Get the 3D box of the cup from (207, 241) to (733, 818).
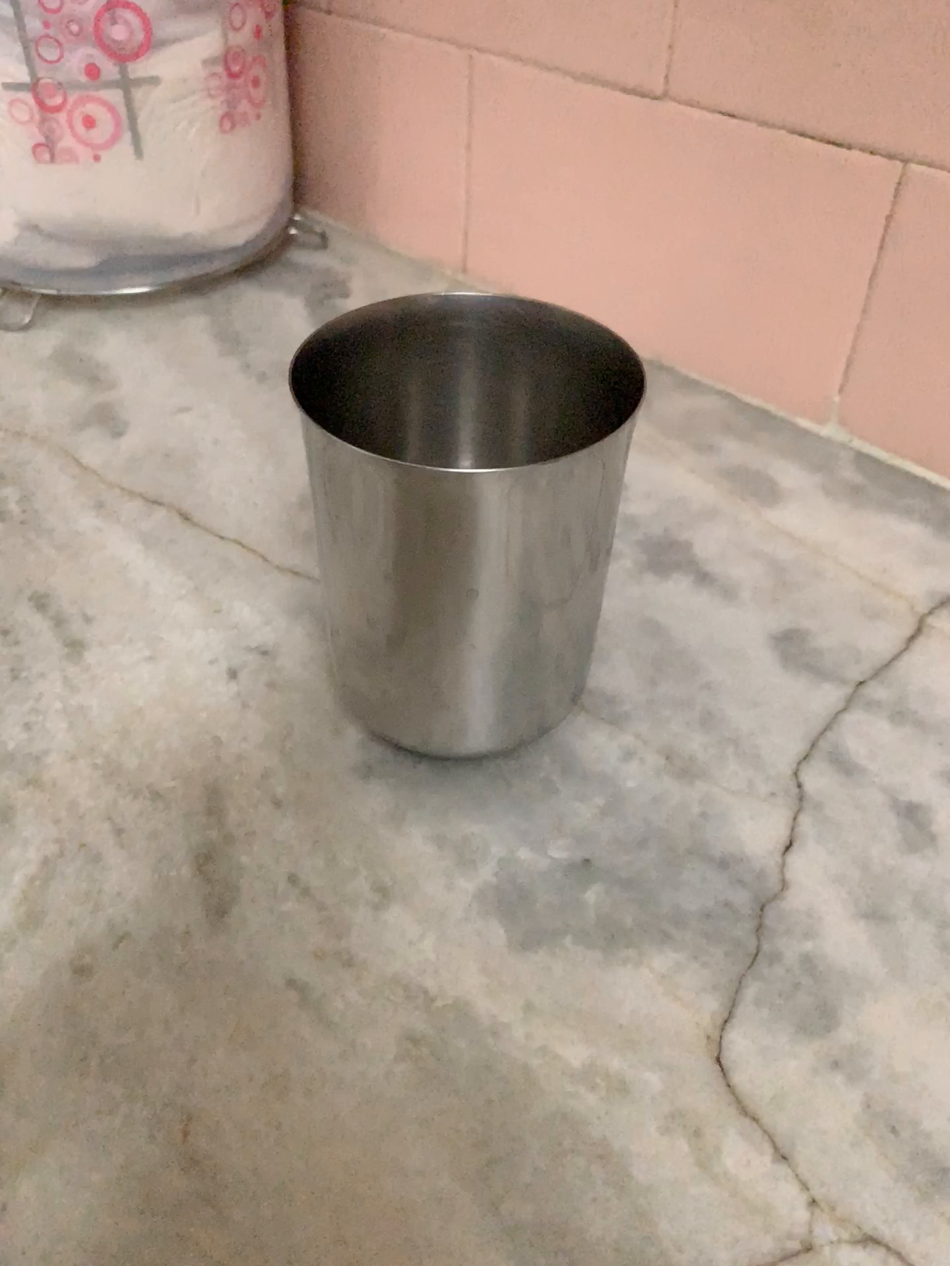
[{"bbox_3d":[-0.004,-0.028,0.236,0.080,0.090,0.080,1,42,0],"label":"cup"}]
